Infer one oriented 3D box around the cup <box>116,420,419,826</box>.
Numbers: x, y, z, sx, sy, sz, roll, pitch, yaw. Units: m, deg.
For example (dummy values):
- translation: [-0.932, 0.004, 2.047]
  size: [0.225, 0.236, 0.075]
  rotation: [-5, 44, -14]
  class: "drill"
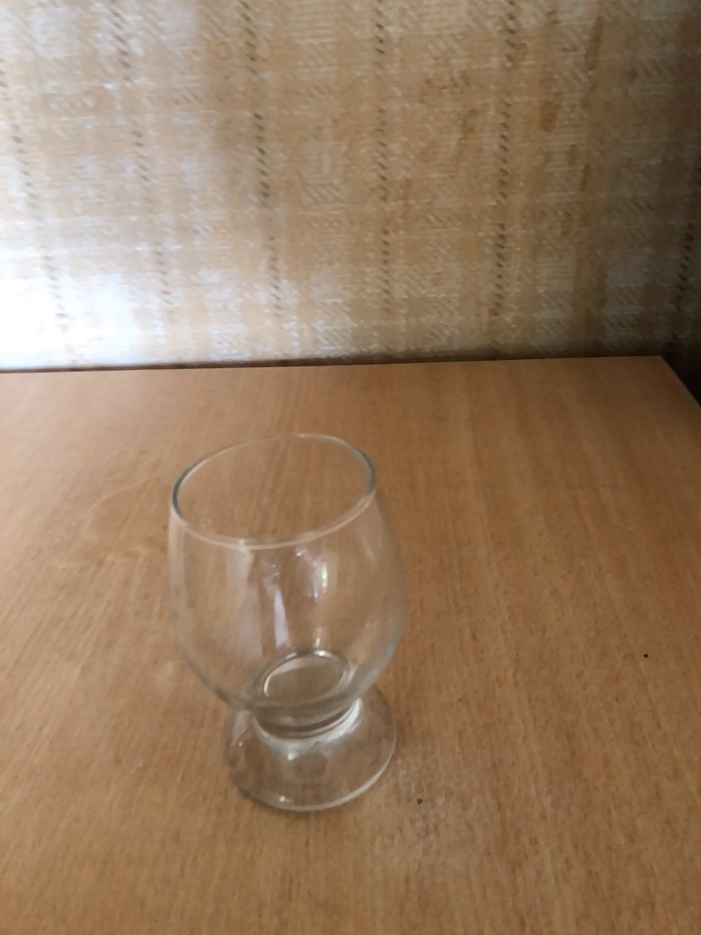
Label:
- translation: [-0.019, 0.050, 0.255]
  size: [0.076, 0.105, 0.074]
  rotation: [-3, 30, 2]
  class: "cup"
